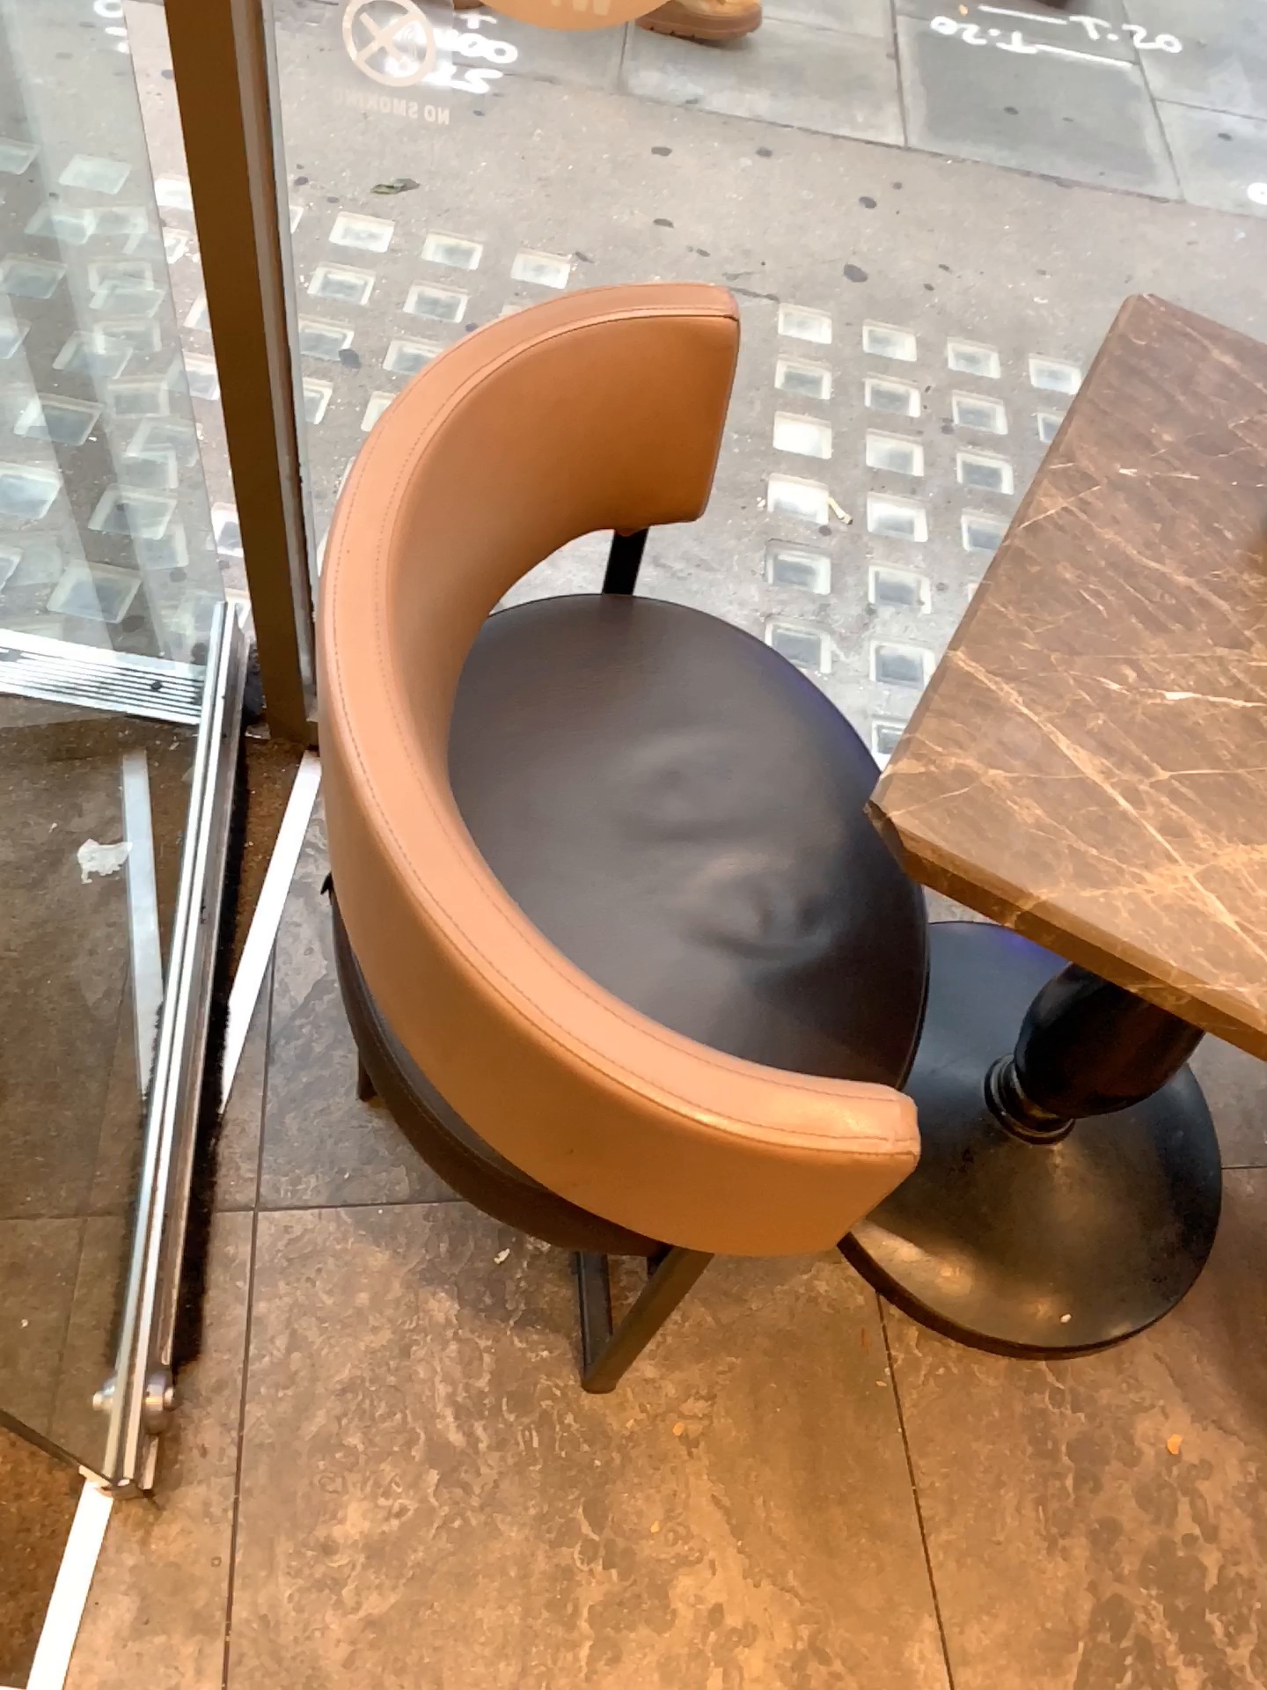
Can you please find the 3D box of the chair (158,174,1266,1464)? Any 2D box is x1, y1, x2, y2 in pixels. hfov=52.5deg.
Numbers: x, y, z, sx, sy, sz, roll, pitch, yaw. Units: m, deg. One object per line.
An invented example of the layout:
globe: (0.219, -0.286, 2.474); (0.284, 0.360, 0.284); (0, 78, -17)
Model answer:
chair: (0.022, 0.022, 1.048); (0.510, 0.655, 0.766); (7, 56, -6)
